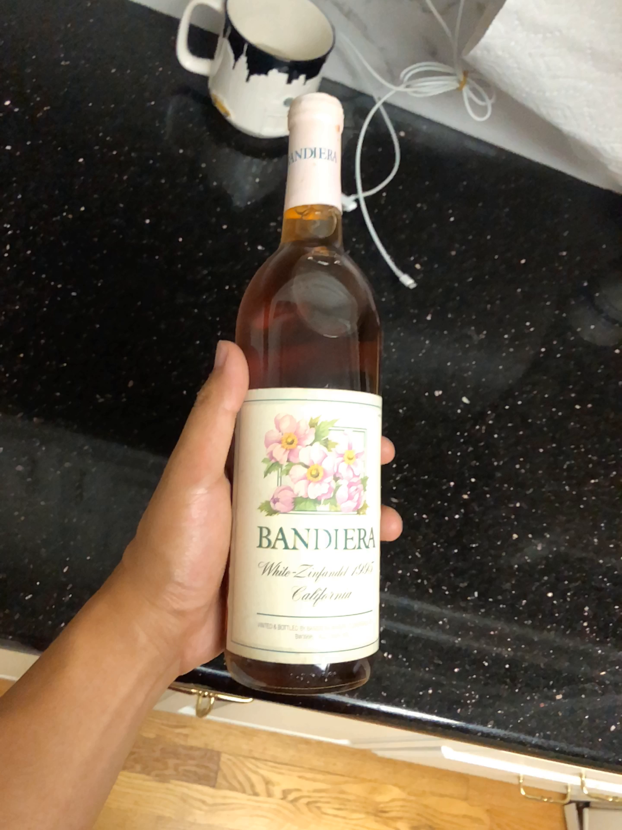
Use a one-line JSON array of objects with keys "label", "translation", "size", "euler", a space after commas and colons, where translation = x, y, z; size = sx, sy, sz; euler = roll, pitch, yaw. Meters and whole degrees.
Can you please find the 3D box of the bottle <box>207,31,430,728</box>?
[{"label": "bottle", "translation": [0.003, -0.018, 0.337], "size": [0.080, 0.070, 0.300], "euler": [4, 83, -16]}]
